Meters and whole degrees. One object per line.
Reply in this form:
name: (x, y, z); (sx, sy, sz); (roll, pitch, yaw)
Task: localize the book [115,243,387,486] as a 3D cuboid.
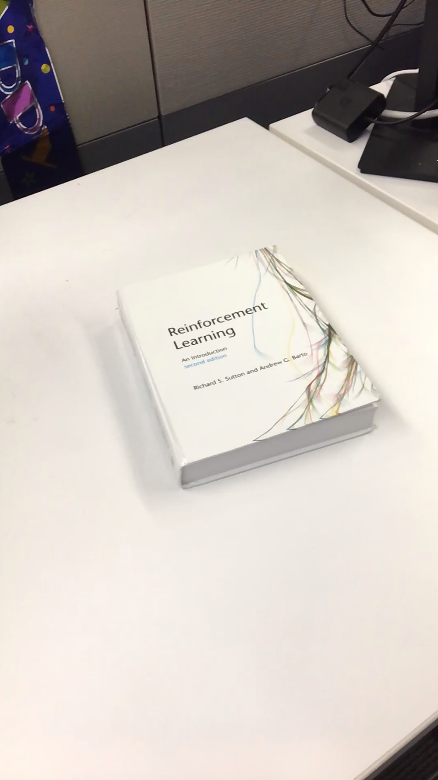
book: (0.017, -0.040, 0.614); (0.180, 0.030, 0.240); (-16, 49, -10)
